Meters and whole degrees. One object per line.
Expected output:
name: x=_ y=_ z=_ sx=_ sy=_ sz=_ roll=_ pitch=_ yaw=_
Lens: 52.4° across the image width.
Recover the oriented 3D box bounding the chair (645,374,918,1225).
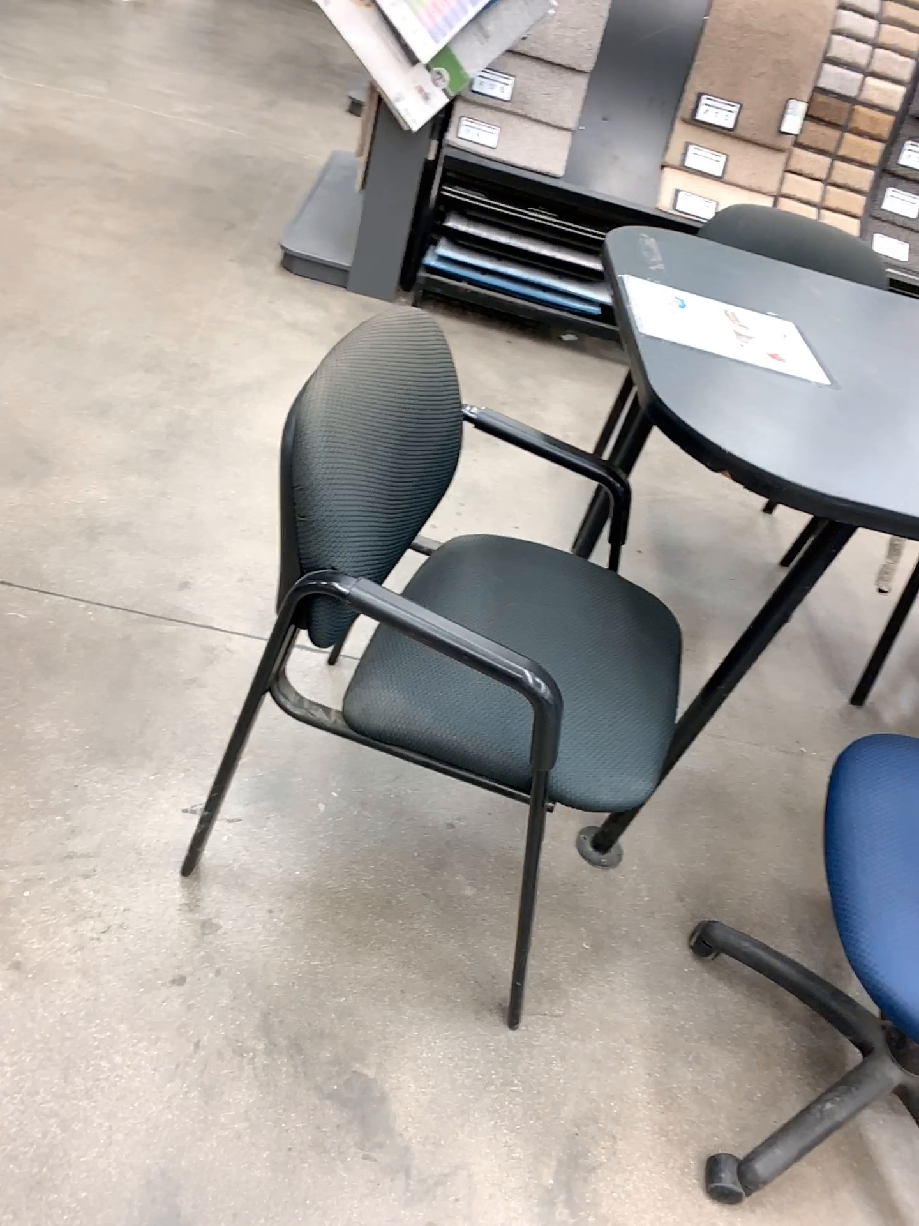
chair: x=0.776 y=0.364 z=1.130 sx=0.715 sy=0.917 sz=0.646 roll=22 pitch=38 yaw=5

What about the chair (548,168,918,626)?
chair: x=0.676 y=-0.531 z=2.300 sx=0.636 sy=0.777 sz=0.586 roll=18 pitch=38 yaw=0

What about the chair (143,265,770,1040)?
chair: x=-0.010 y=0.042 z=1.344 sx=0.584 sy=0.750 sz=0.607 roll=22 pitch=38 yaw=5
